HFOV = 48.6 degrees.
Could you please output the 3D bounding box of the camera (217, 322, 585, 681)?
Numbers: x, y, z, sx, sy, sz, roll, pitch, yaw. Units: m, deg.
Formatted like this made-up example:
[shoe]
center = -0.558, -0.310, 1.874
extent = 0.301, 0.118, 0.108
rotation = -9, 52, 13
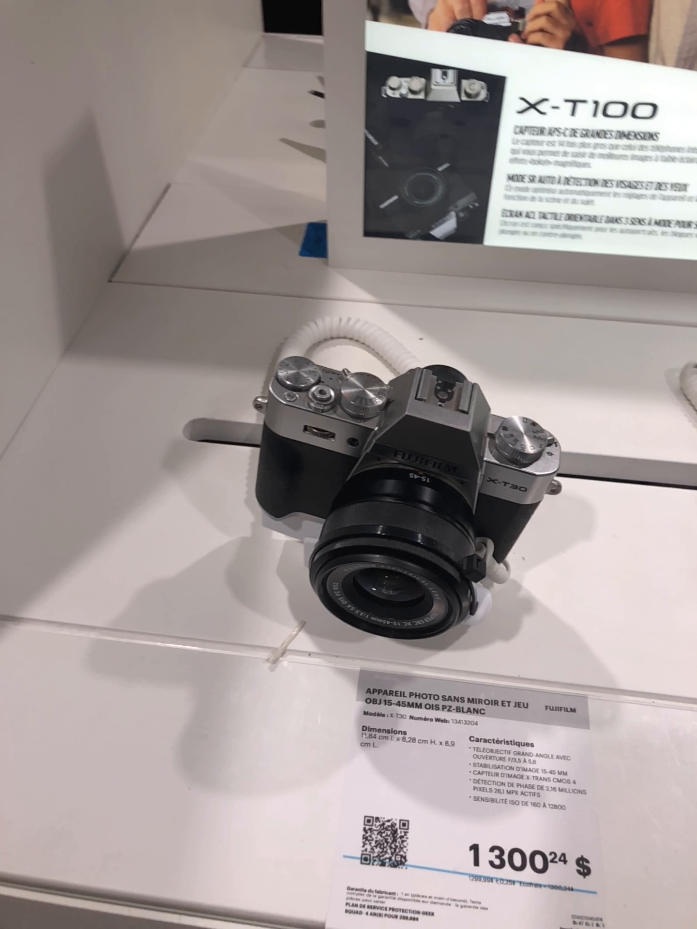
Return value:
[camera]
center = 0.022, 0.015, 0.335
extent = 0.130, 0.089, 0.091
rotation = 14, 47, 6
